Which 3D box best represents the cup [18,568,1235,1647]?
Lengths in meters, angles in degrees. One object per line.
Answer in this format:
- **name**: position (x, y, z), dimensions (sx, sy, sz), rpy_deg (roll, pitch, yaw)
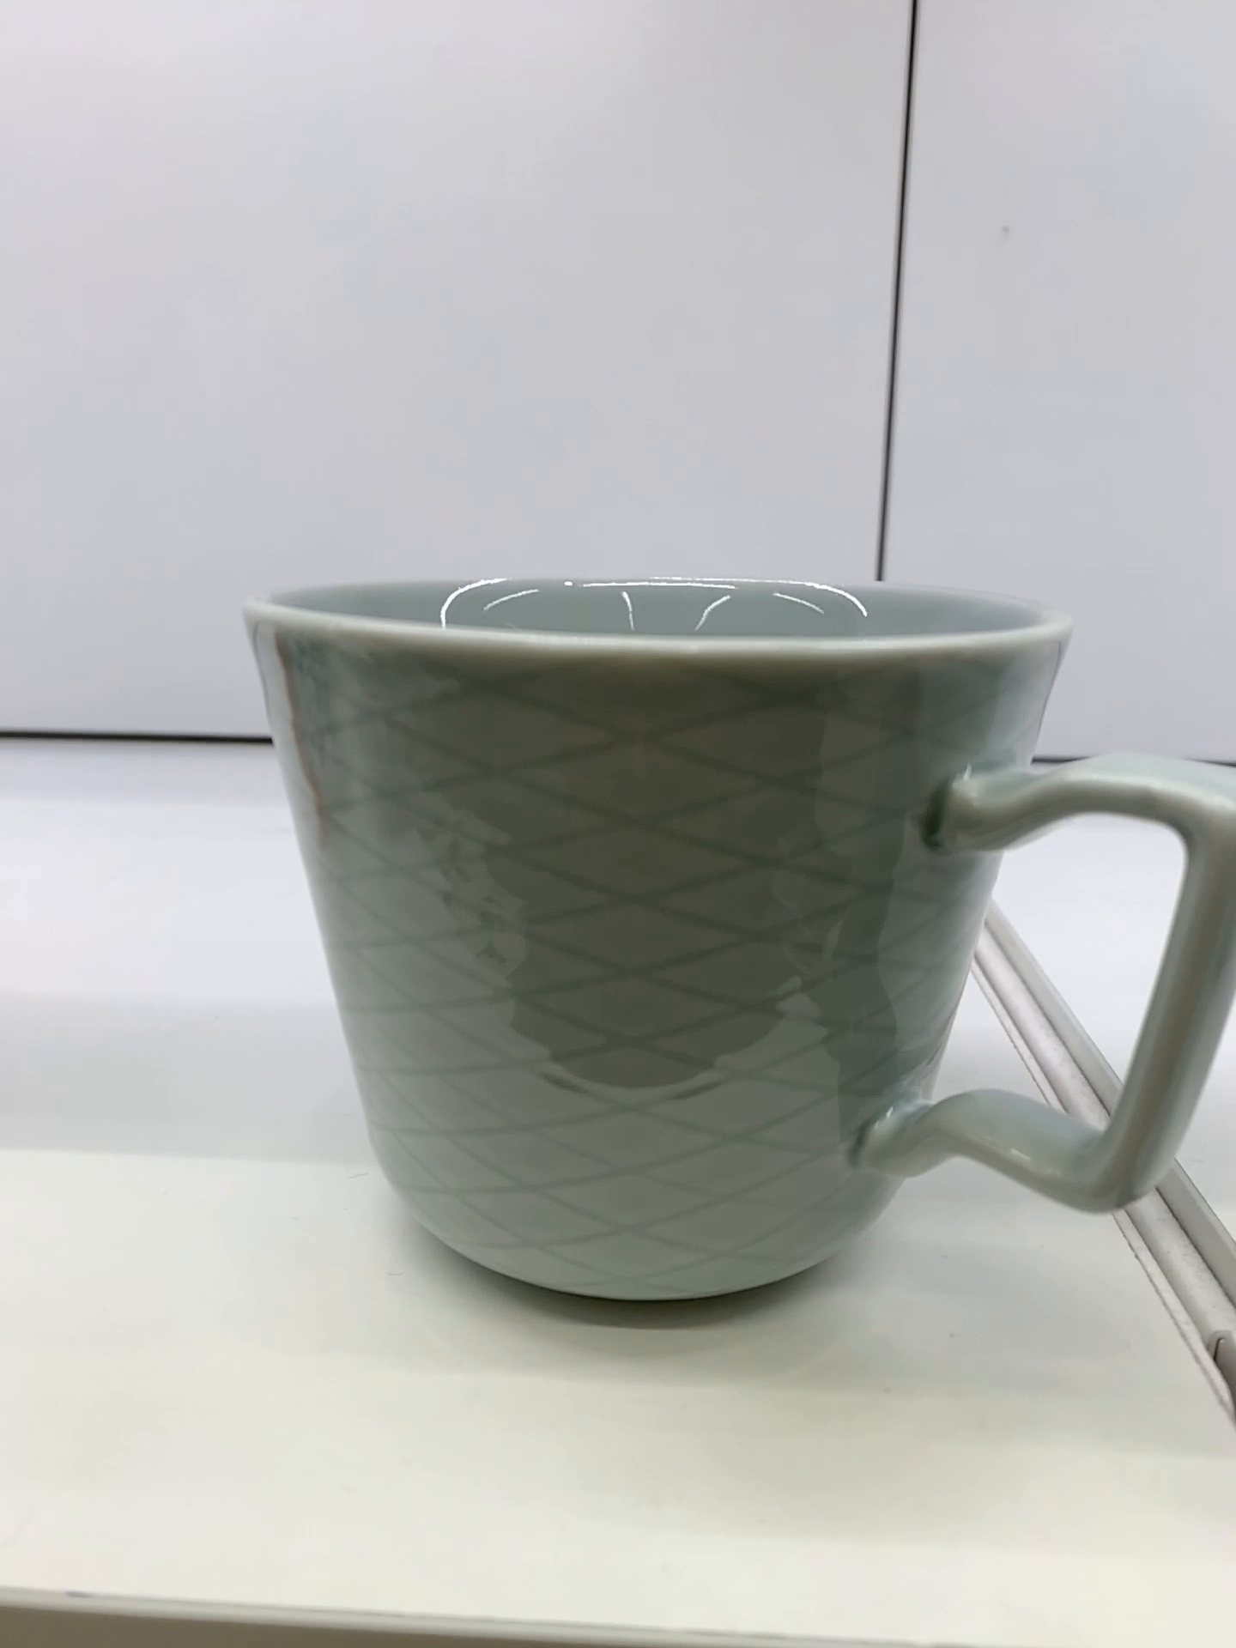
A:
- **cup**: position (0.008, 0.013, 0.172), dimensions (0.124, 0.089, 0.109), rpy_deg (10, 16, 37)
